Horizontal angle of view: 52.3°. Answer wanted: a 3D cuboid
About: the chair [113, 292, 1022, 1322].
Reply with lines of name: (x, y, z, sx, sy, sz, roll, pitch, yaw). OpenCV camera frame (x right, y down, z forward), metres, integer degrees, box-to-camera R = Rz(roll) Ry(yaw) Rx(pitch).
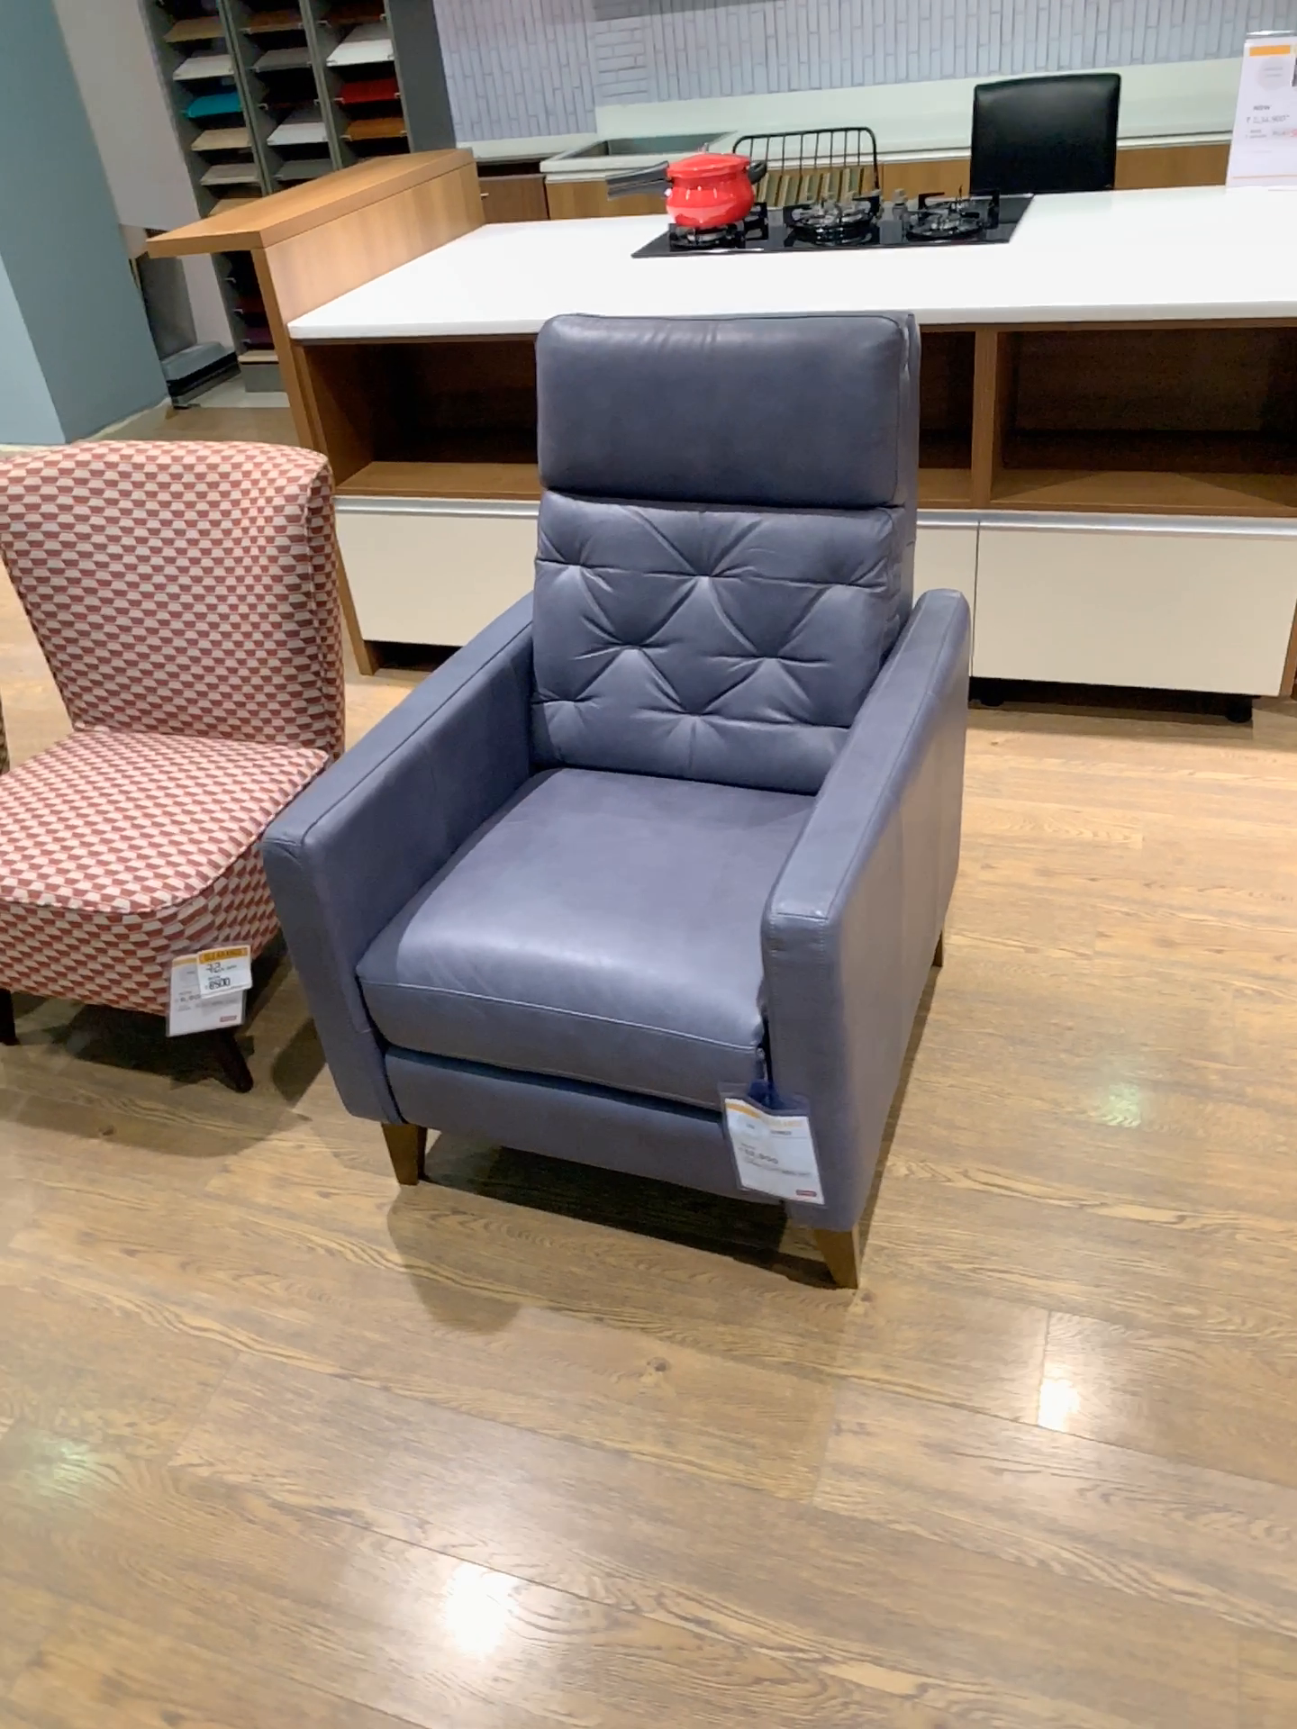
chair: (0.022, -0.135, 1.792, 0.771, 0.996, 0.853, 8, 37, 20)
